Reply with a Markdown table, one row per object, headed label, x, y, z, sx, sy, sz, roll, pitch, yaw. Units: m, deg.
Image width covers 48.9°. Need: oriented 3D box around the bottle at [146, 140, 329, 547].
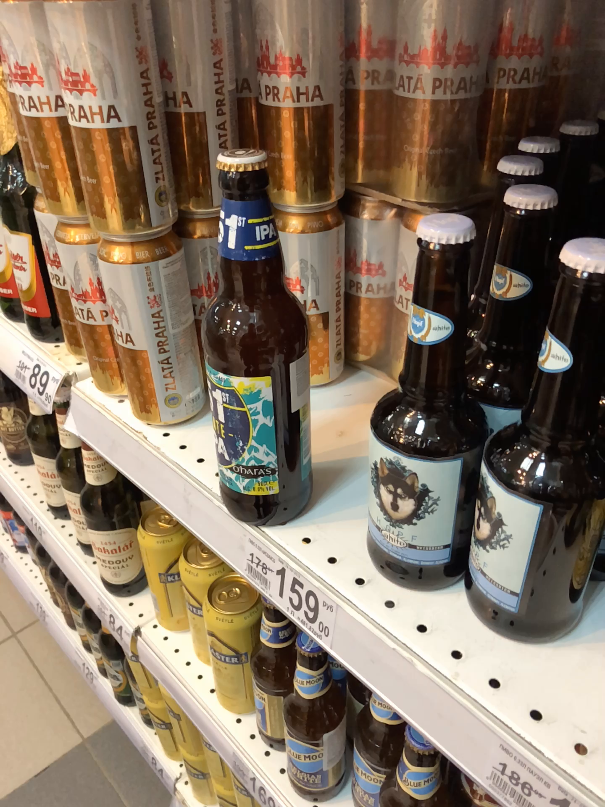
| label | x | y | z | sx | sy | sz | roll | pitch | yaw |
| --- | --- | --- | --- | --- | --- | --- | --- | --- | --- |
| bottle | -0.035 | -0.033 | 0.430 | 0.070 | 0.239 | 0.080 | -21 | 38 | -28 |
